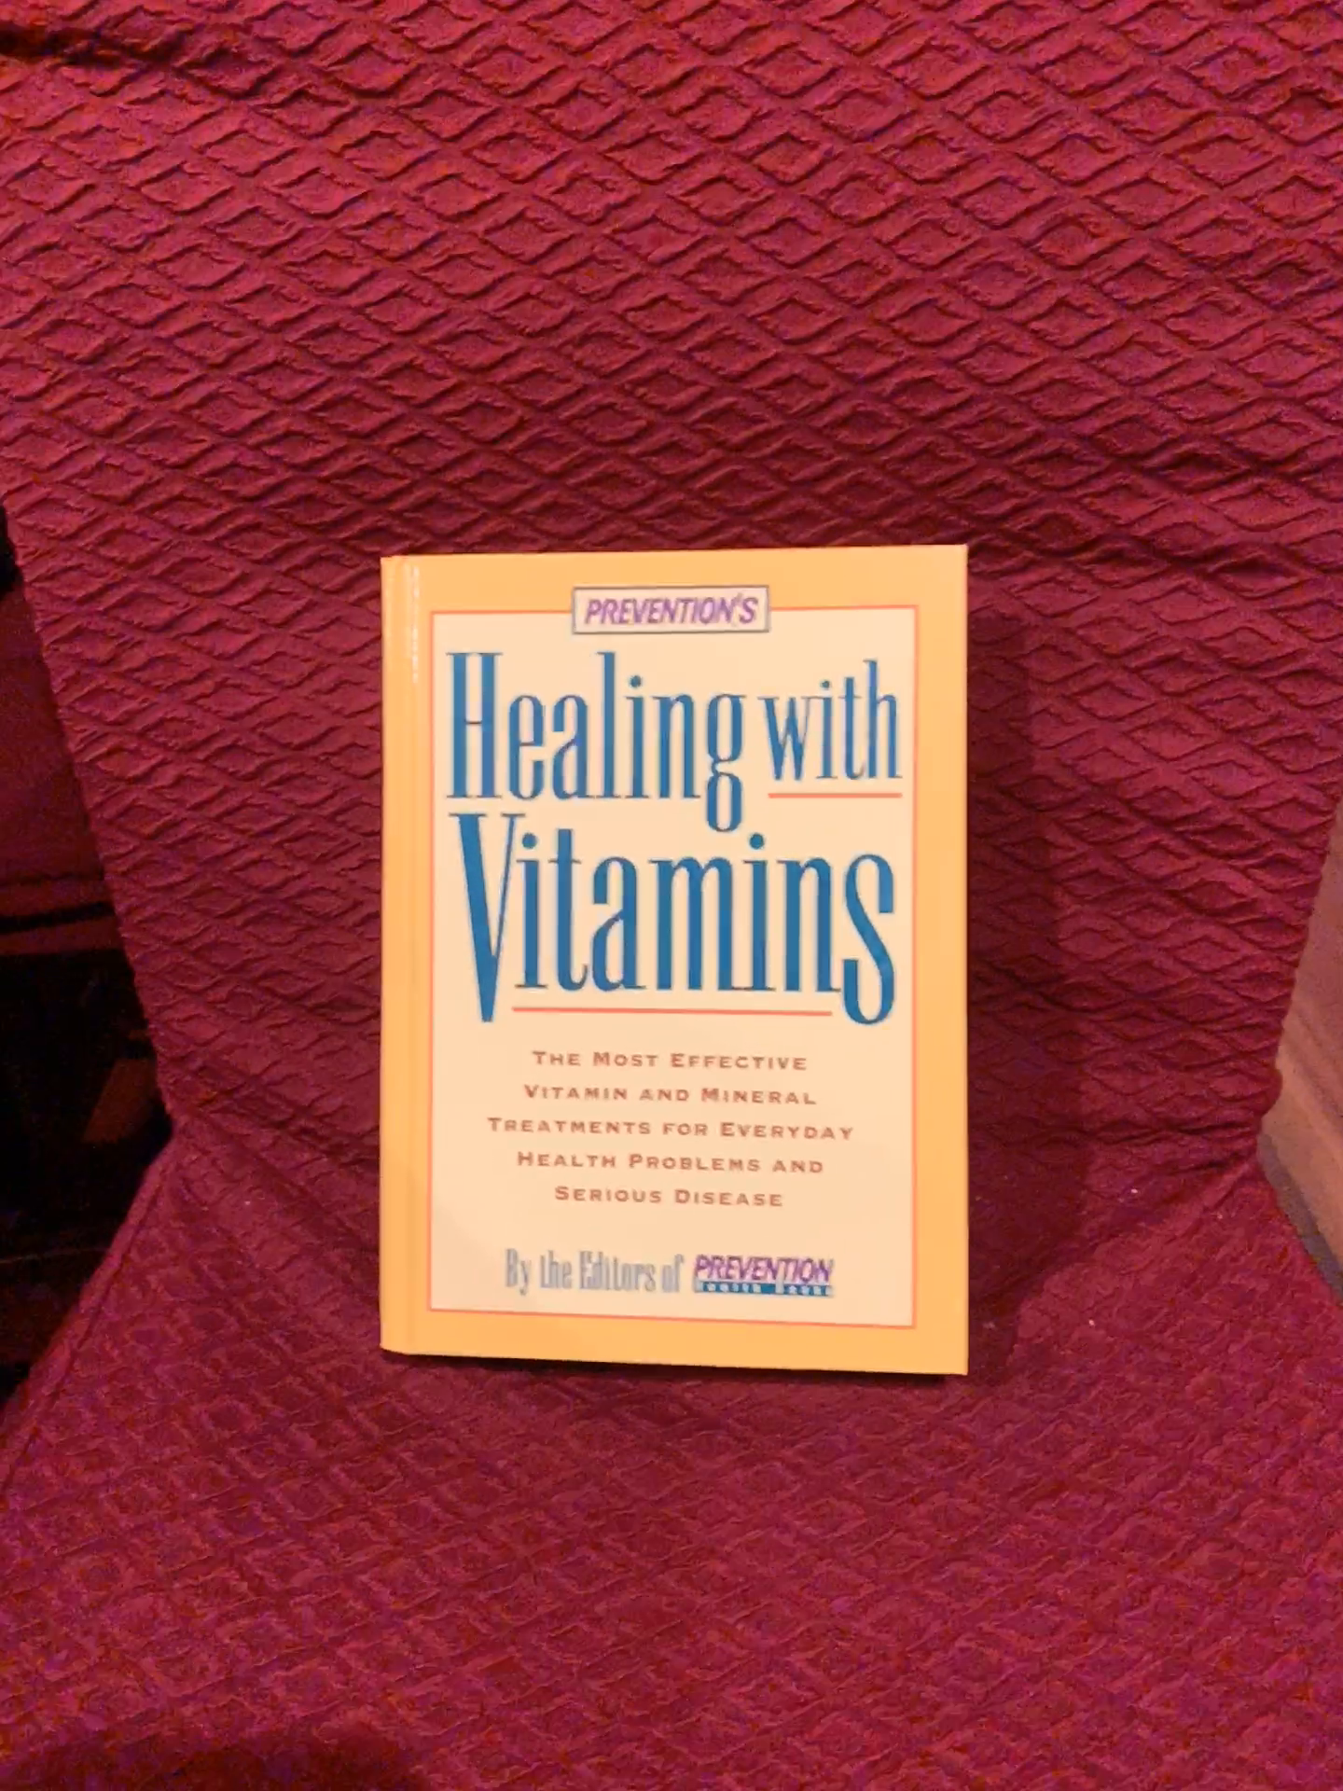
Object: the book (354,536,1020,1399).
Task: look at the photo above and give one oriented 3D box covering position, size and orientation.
[{"bbox_3d":[0.004,0.020,0.415,0.190,0.240,0.040,0,0,6],"label":"book"}]
